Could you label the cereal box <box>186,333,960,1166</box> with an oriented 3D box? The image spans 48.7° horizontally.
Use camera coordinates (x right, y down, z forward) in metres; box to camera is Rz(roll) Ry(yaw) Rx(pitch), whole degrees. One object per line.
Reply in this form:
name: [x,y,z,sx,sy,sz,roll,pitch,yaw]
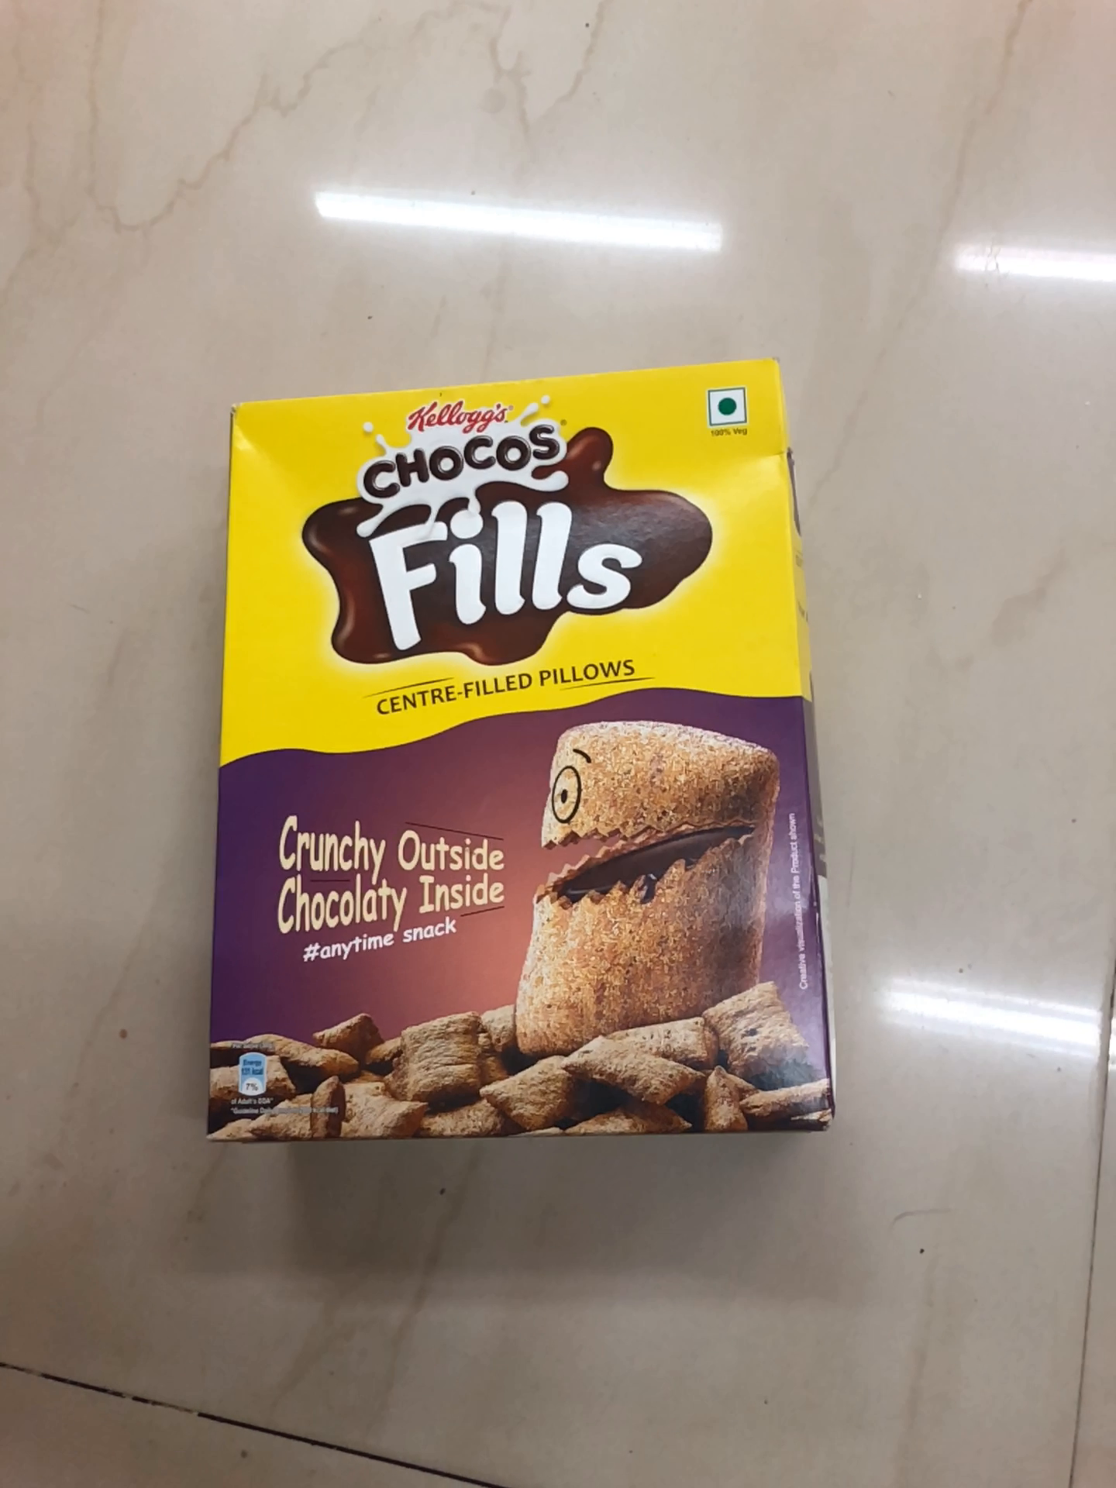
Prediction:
cereal box: [0.001,0.004,0.381,0.200,0.070,0.230,-4,75,6]
